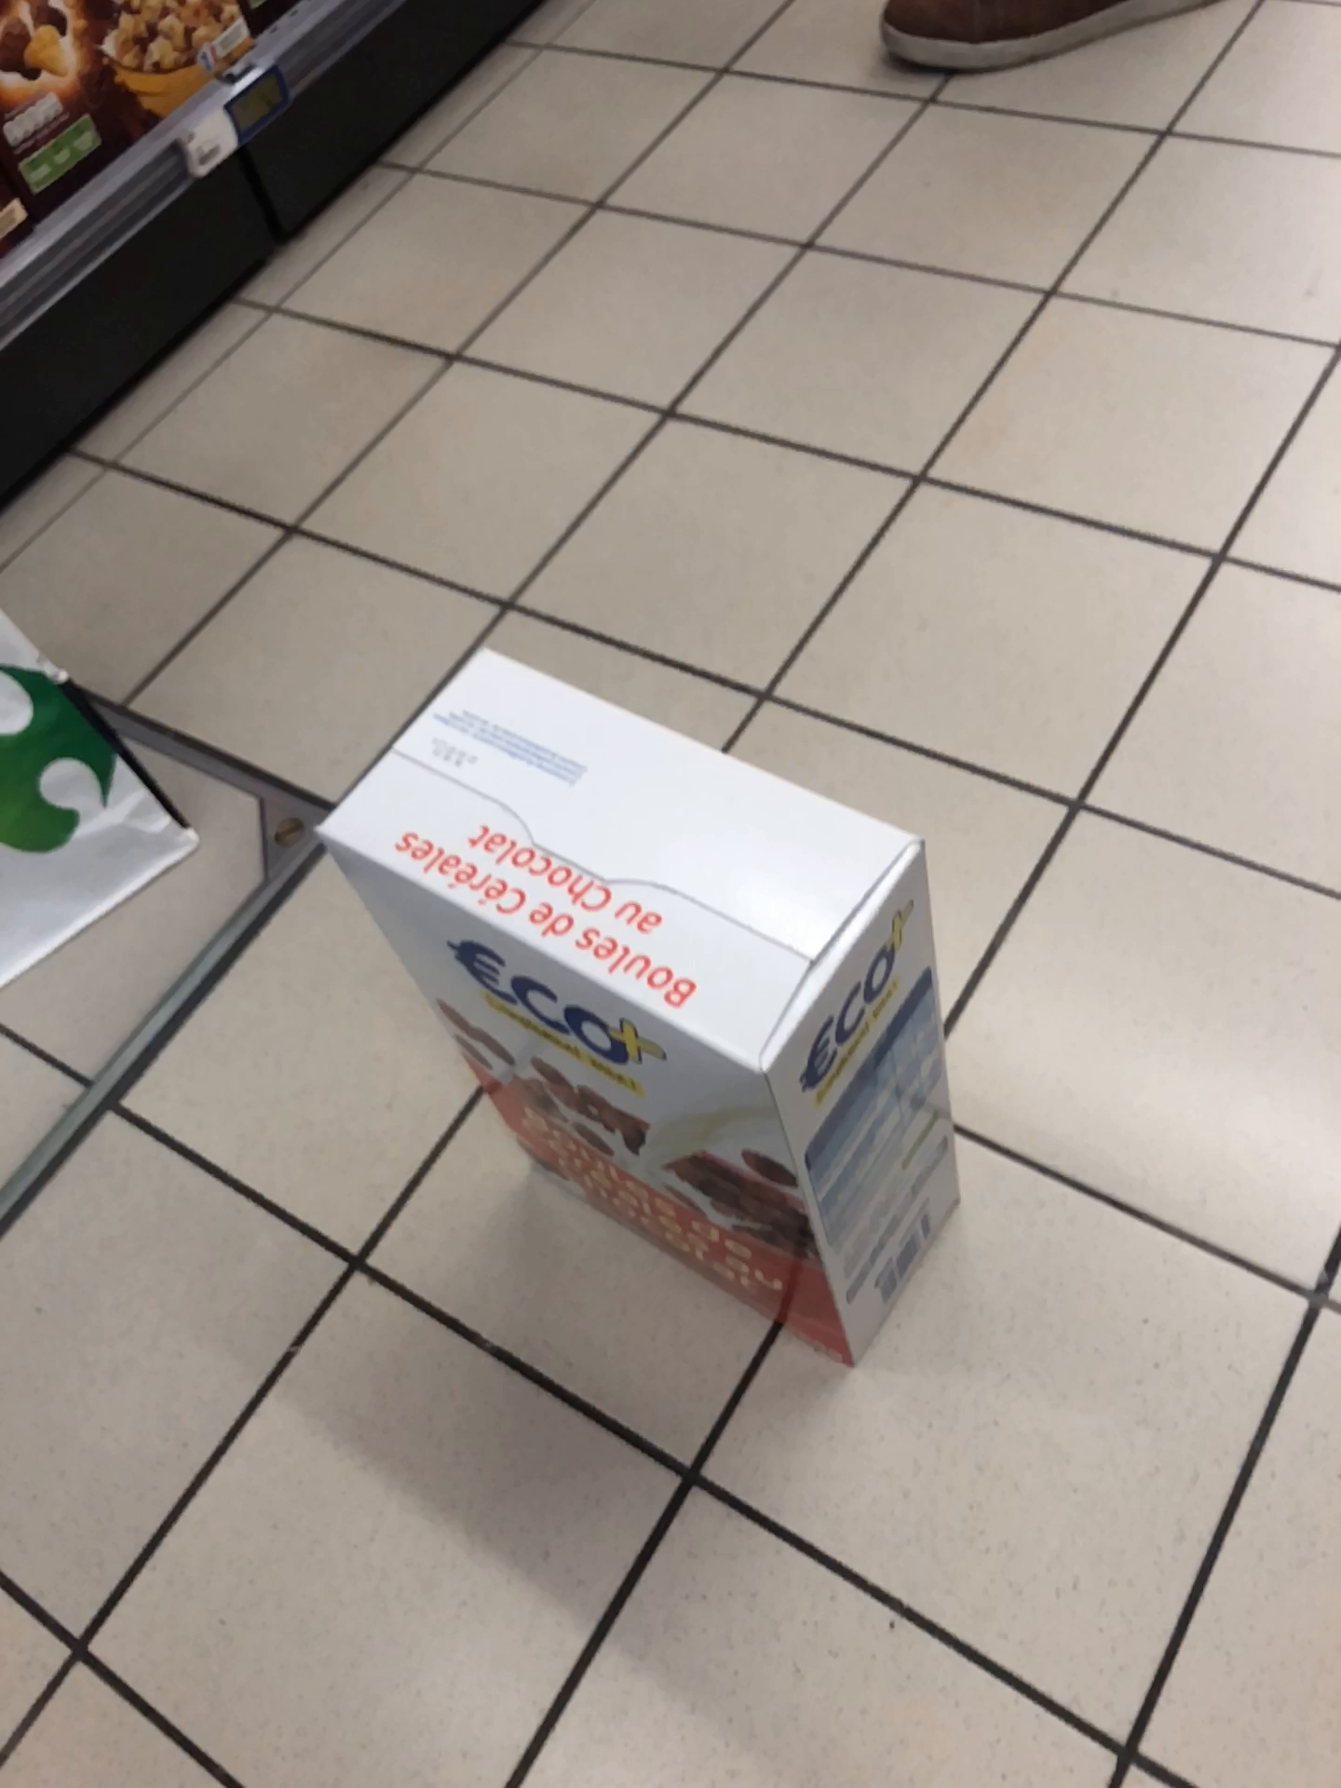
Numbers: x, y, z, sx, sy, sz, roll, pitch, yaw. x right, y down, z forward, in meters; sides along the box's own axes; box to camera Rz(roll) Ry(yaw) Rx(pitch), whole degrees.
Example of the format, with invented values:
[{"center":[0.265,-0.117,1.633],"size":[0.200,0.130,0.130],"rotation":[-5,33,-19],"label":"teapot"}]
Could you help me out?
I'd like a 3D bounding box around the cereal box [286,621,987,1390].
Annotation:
[{"center":[0.007,0.059,0.607],"size":[0.210,0.299,0.100],"rotation":[27,66,28],"label":"cereal box"}]
